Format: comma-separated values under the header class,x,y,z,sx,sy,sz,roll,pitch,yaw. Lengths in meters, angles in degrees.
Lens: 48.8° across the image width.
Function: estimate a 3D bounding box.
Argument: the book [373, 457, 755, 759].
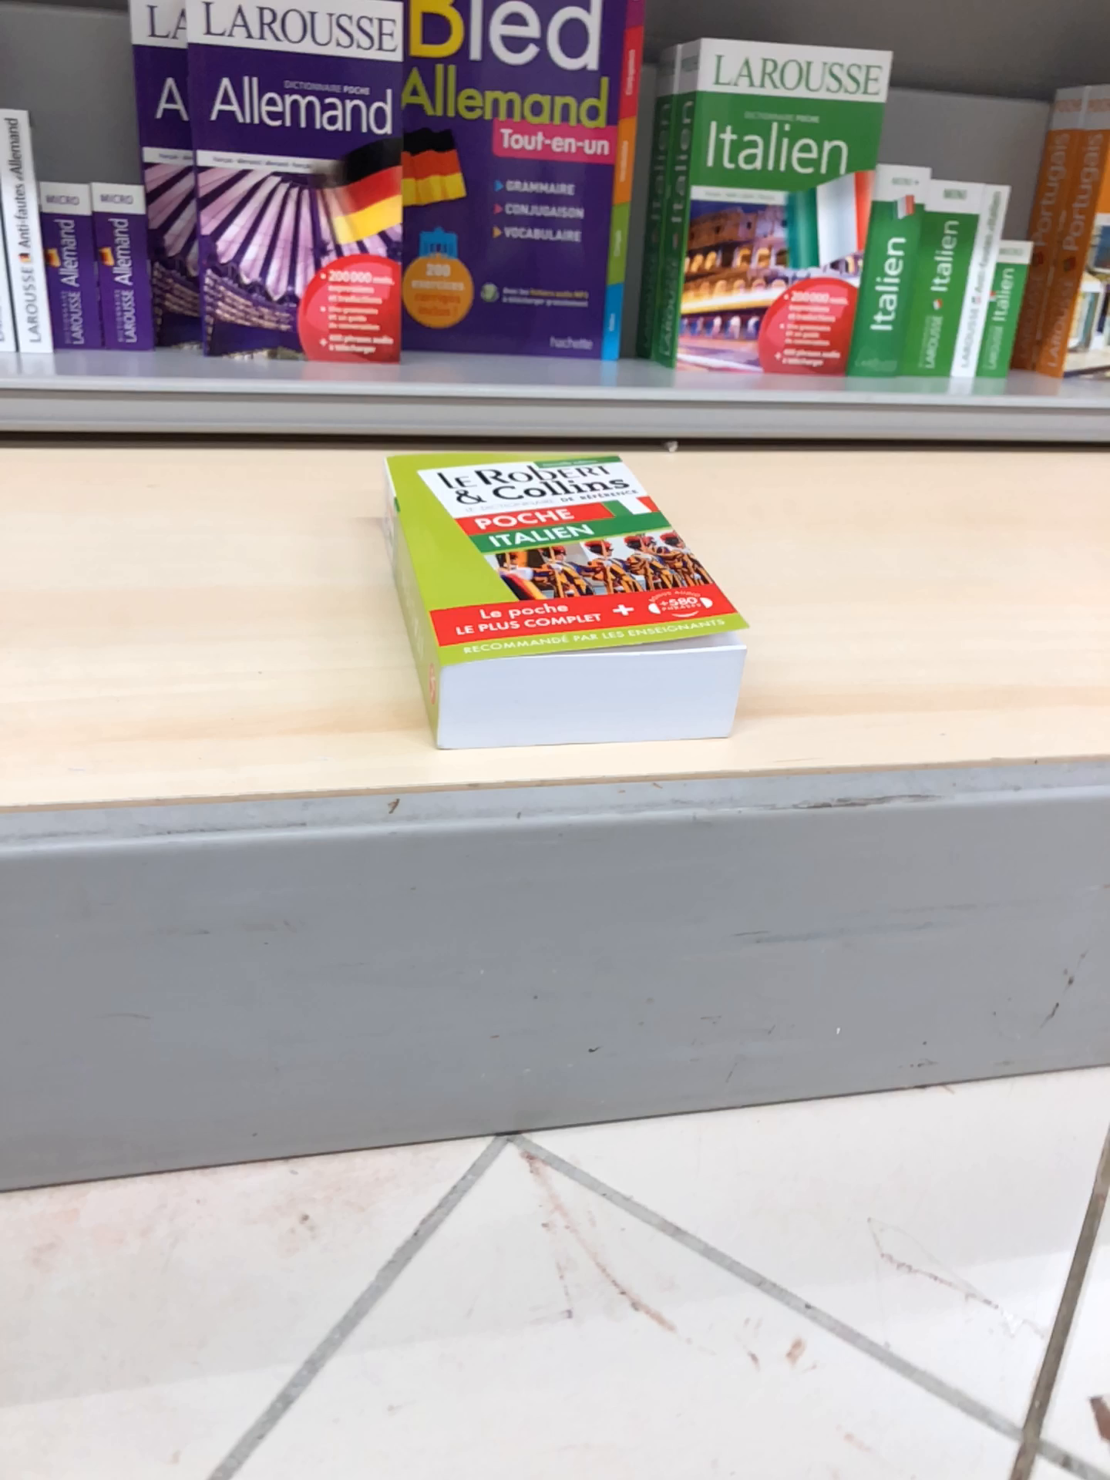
class,x,y,z,sx,sy,sz,roll,pitch,yaw
book,-0.007,-0.061,0.486,0.110,0.040,0.176,-2,34,-14
